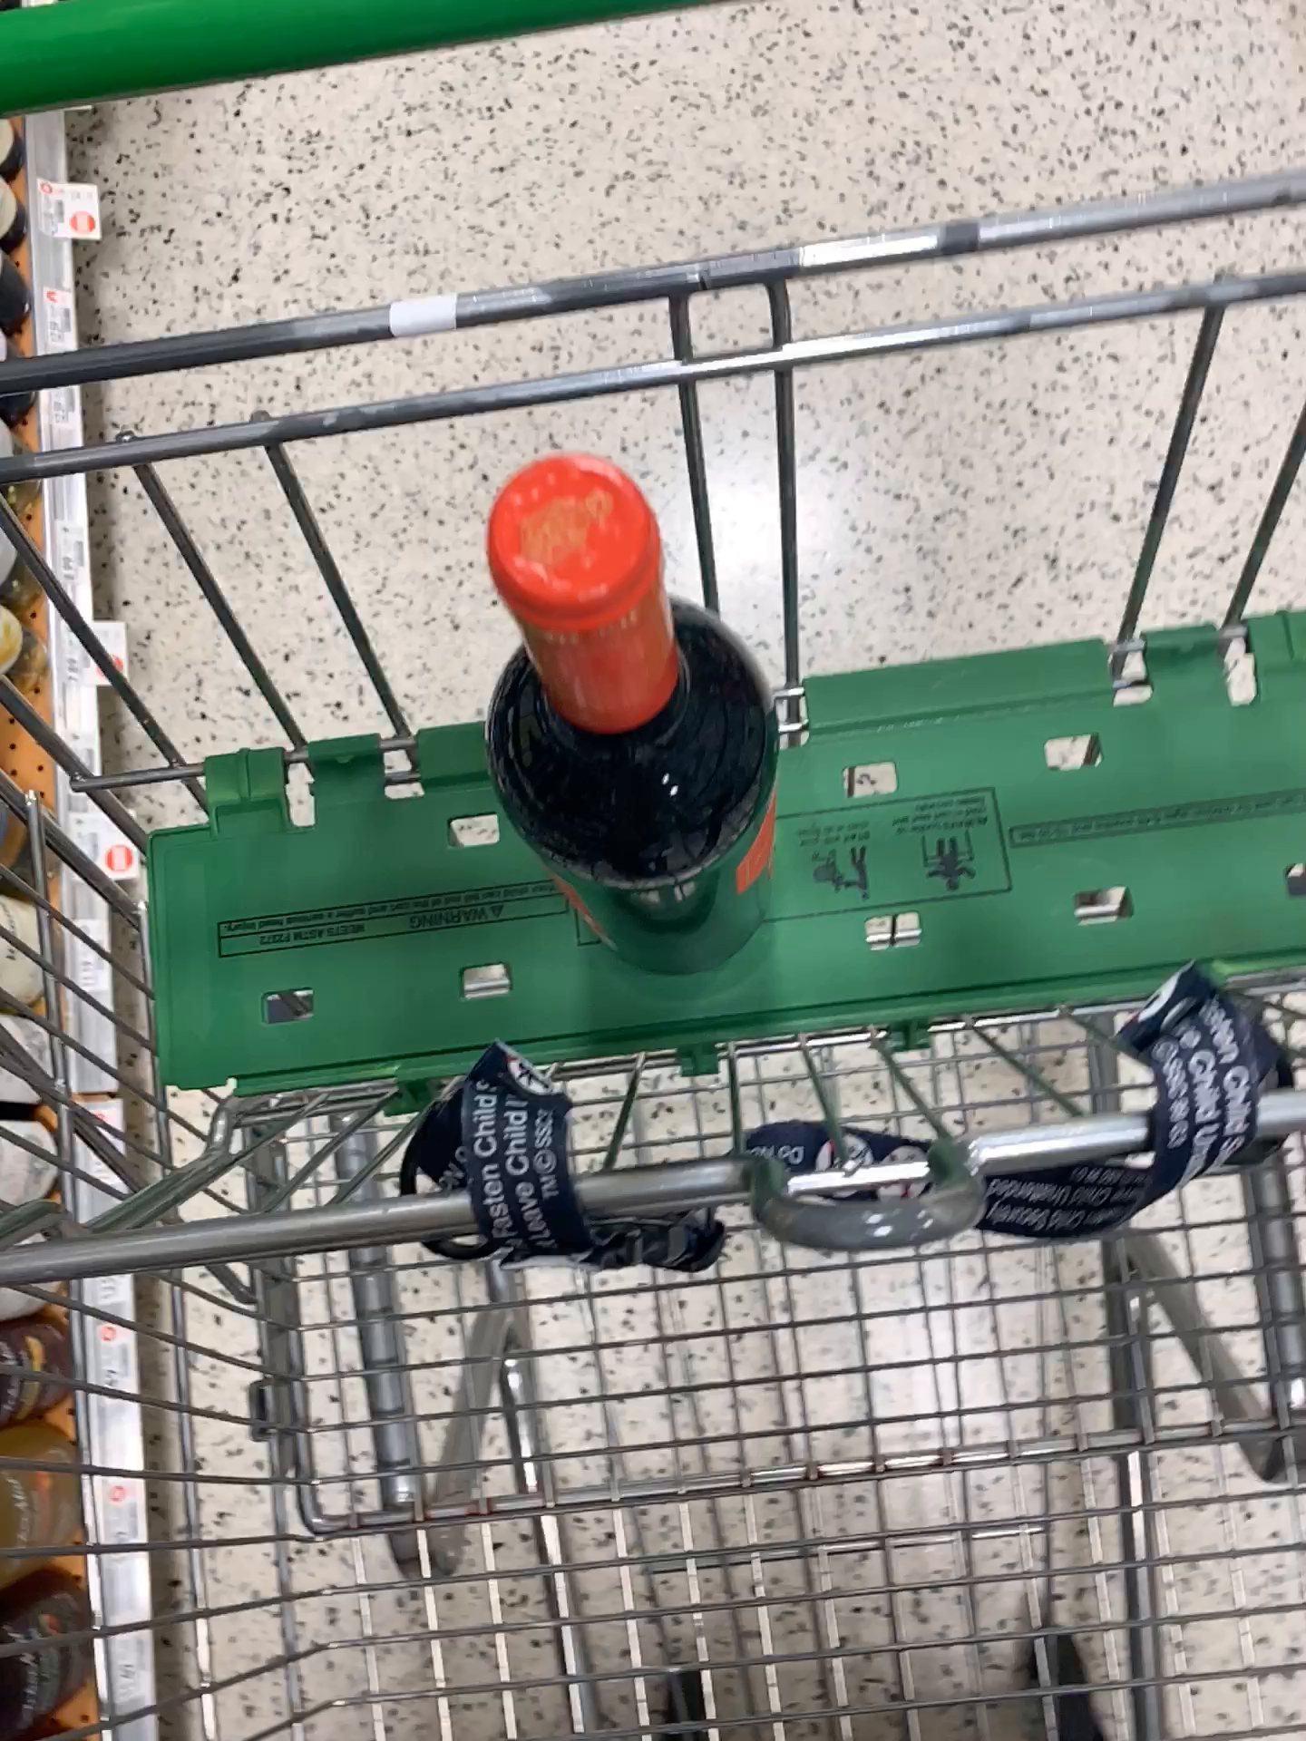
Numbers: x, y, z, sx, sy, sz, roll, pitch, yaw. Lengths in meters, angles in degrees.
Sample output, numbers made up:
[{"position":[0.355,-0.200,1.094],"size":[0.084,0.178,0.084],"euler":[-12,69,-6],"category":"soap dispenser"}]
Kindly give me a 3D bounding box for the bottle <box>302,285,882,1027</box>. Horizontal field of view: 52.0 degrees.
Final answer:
[{"position":[-0.001,-0.021,0.367],"size":[0.080,0.299,0.080],"euler":[-1,78,4],"category":"bottle"}]
